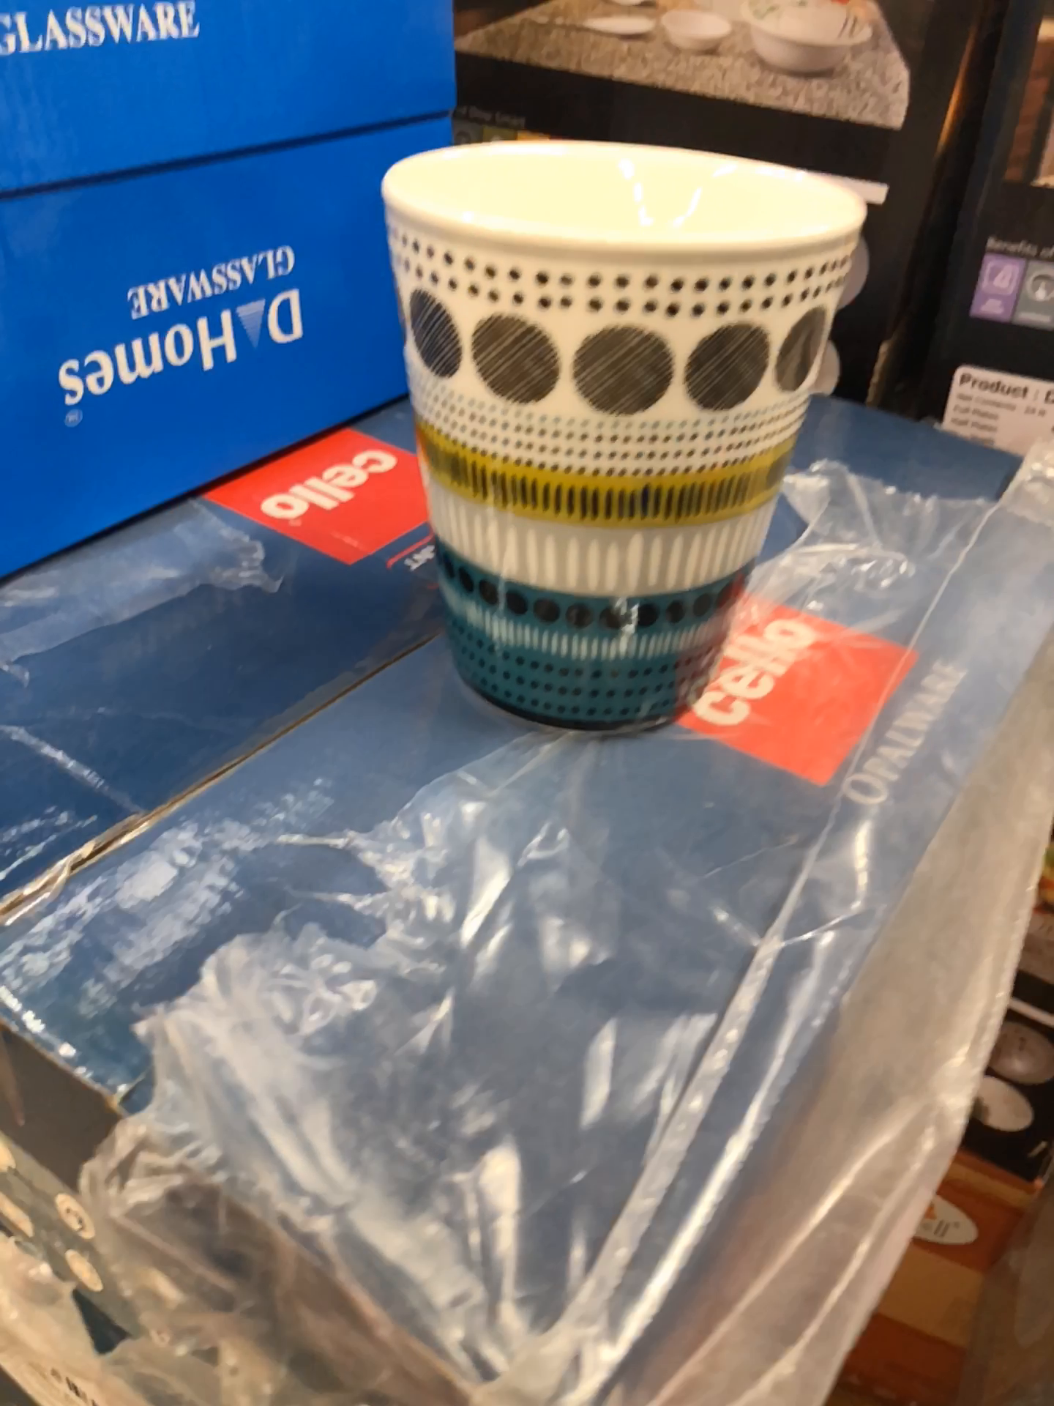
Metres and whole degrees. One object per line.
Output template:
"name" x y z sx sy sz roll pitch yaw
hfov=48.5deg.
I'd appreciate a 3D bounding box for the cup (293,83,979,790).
"cup" 0.026 -0.065 0.244 0.090 0.089 0.121 20 39 18
